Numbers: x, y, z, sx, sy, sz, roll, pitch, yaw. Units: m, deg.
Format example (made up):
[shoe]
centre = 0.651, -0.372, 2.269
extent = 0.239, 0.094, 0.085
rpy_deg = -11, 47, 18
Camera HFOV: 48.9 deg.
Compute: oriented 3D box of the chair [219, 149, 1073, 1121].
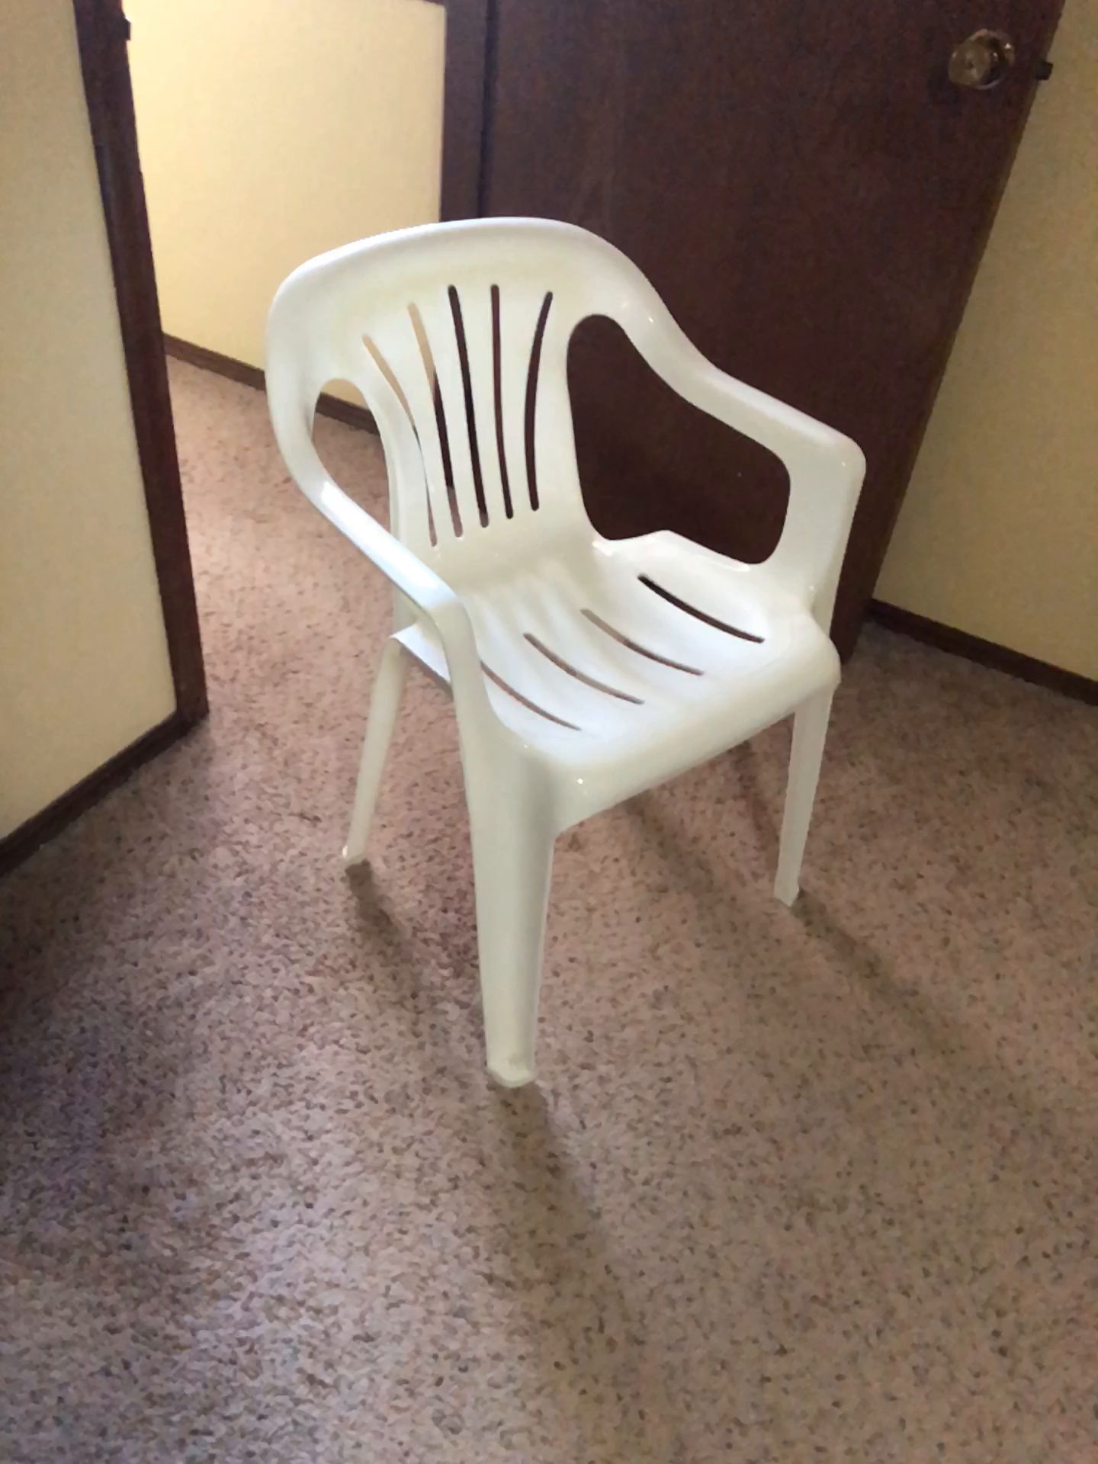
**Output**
[chair]
centre = 0.058, -0.115, 1.298
extent = 0.581, 0.768, 0.471
rpy_deg = -26, 51, -32
